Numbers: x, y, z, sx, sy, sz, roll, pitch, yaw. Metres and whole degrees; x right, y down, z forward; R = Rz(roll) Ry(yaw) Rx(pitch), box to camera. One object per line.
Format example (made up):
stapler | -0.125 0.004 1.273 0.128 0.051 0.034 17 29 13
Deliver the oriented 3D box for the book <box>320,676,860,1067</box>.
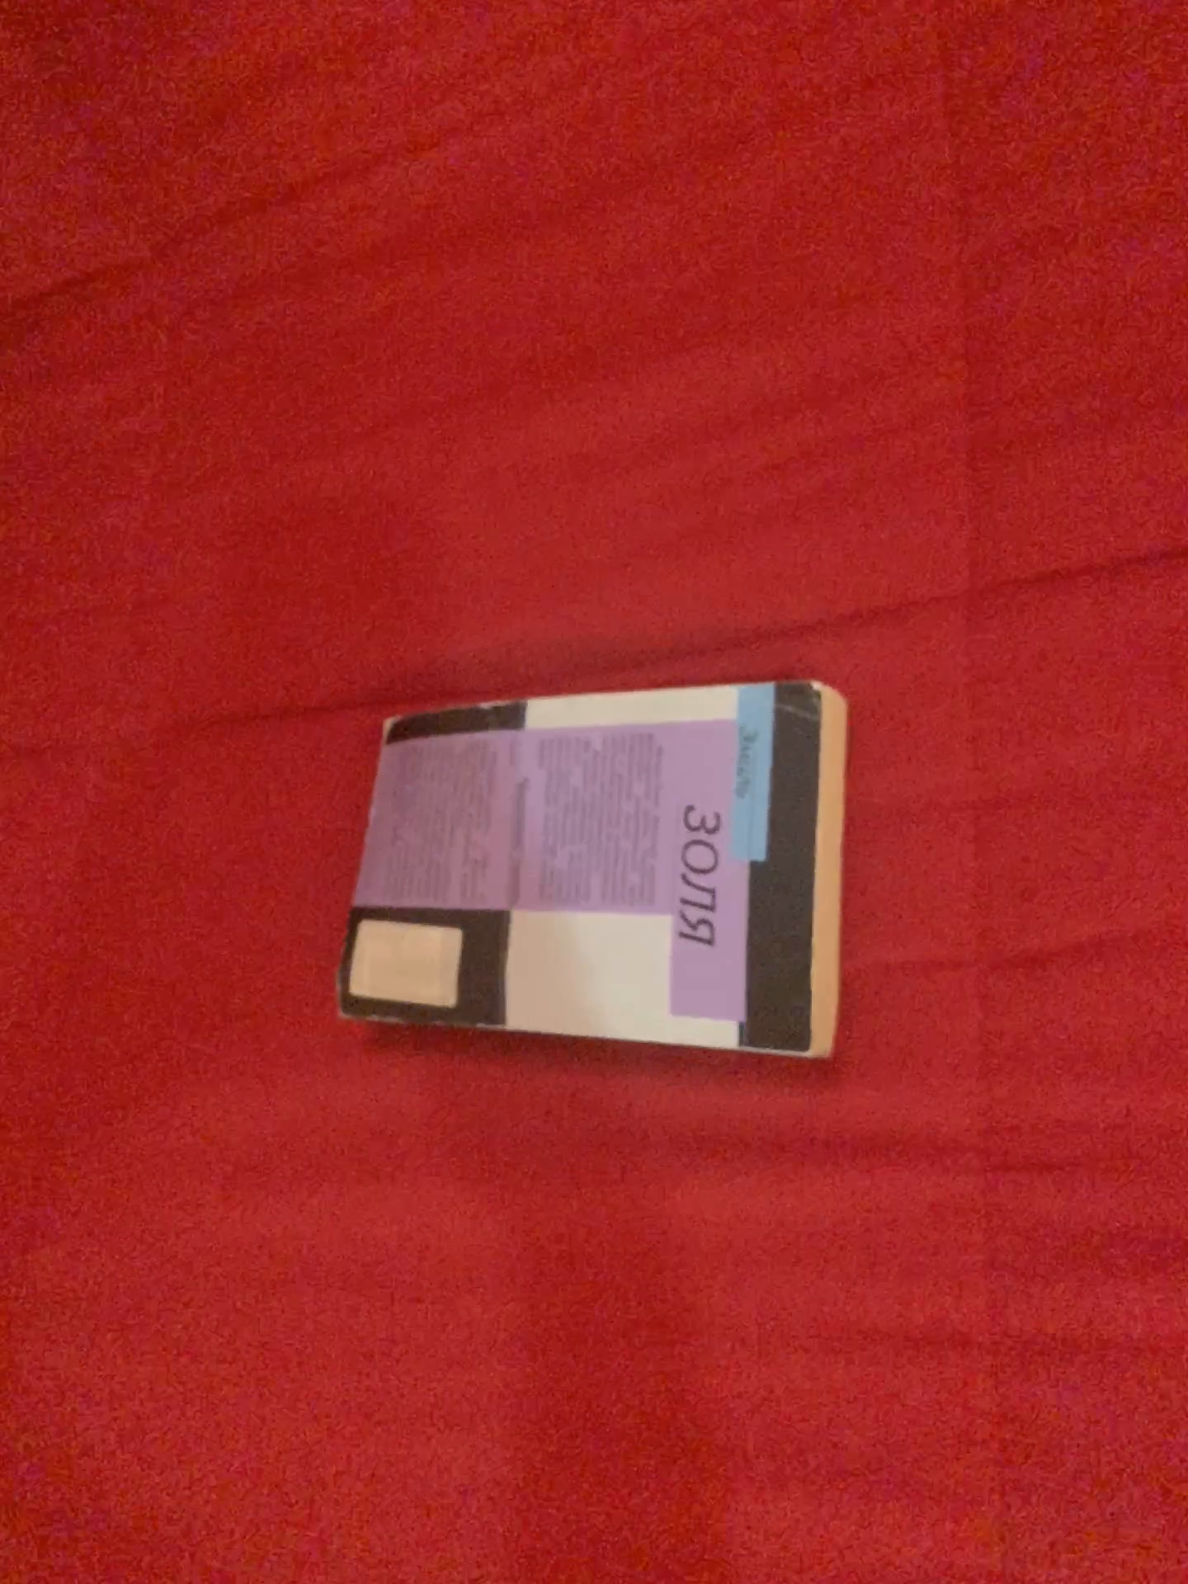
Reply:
book | -0.005 0.025 0.398 0.171 0.033 0.109 -2 76 29
